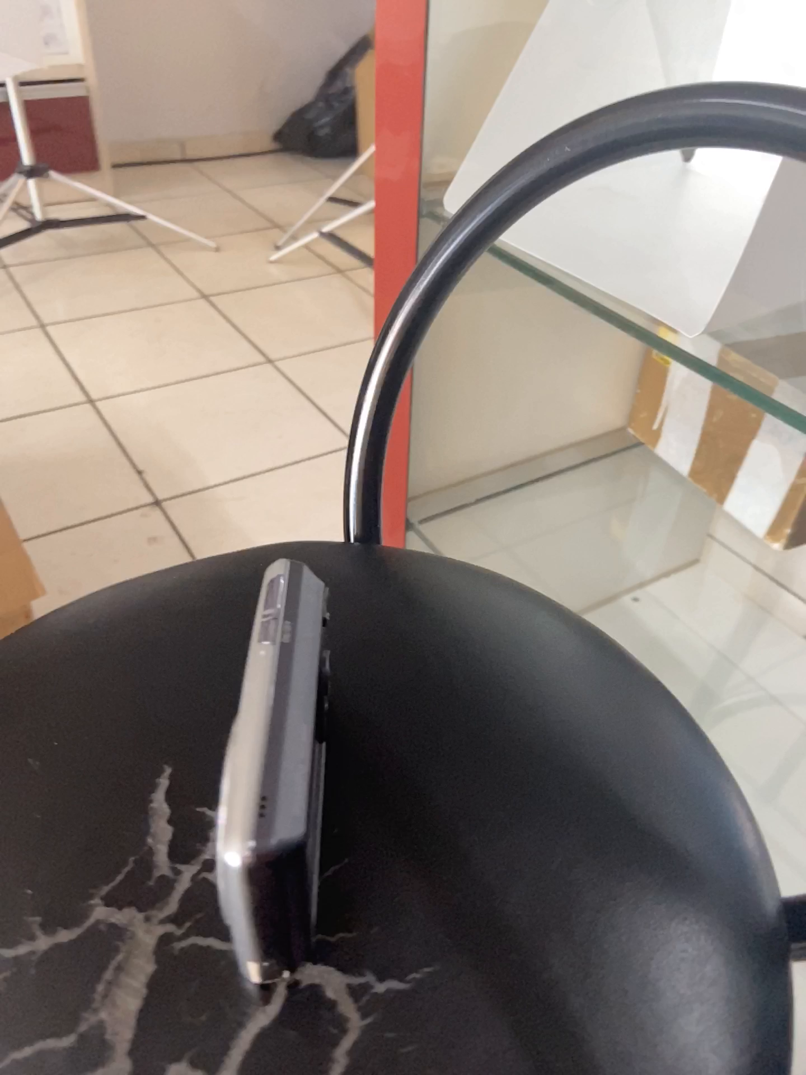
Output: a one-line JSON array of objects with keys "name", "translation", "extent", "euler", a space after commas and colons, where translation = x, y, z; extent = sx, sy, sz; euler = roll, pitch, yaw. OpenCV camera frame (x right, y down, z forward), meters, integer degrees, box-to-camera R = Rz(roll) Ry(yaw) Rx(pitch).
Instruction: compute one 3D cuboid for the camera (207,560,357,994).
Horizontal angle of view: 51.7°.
[{"name": "camera", "translation": [-0.029, 0.062, 0.234], "extent": [0.030, 0.060, 0.101], "euler": [1, 38, -3]}]
